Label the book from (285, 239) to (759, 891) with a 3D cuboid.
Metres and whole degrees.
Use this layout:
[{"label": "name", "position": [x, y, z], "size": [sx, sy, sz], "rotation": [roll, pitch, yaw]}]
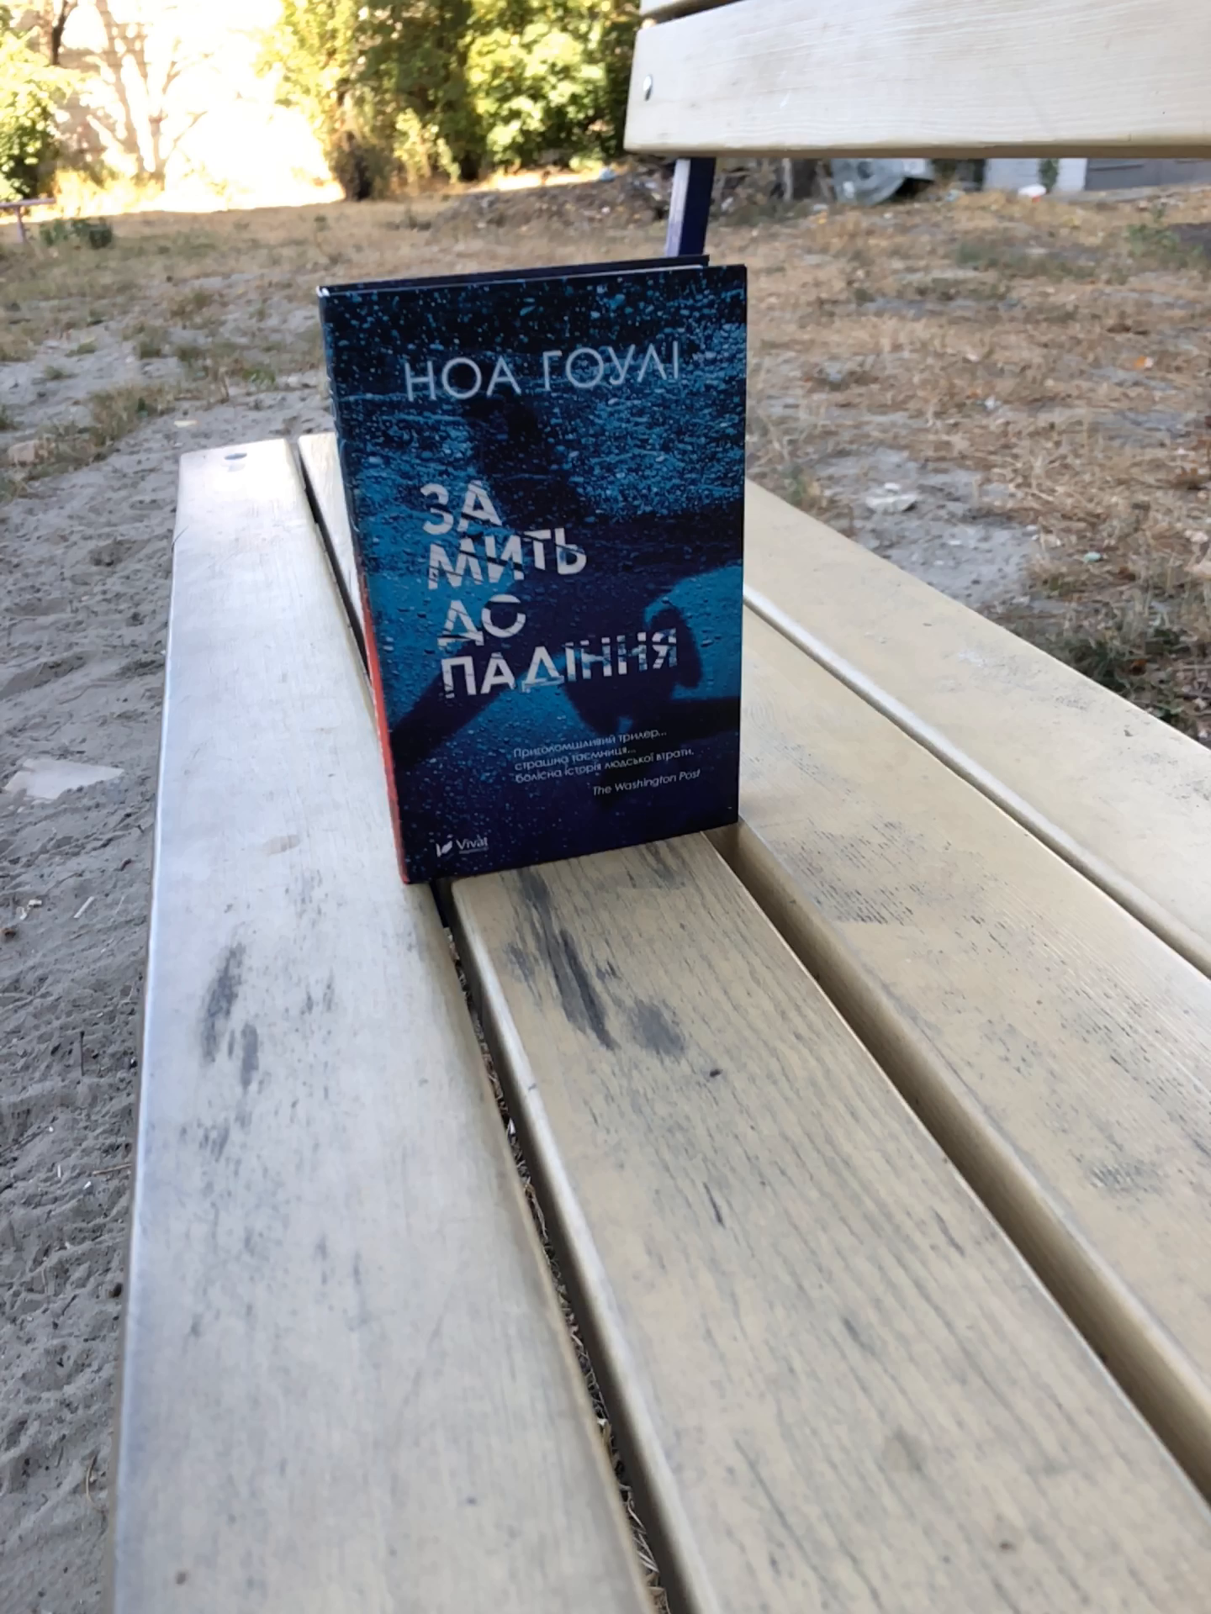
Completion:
[{"label": "book", "position": [-0.021, -0.079, 0.452], "size": [0.140, 0.199, 0.040], "rotation": [-10, 29, -12]}]
